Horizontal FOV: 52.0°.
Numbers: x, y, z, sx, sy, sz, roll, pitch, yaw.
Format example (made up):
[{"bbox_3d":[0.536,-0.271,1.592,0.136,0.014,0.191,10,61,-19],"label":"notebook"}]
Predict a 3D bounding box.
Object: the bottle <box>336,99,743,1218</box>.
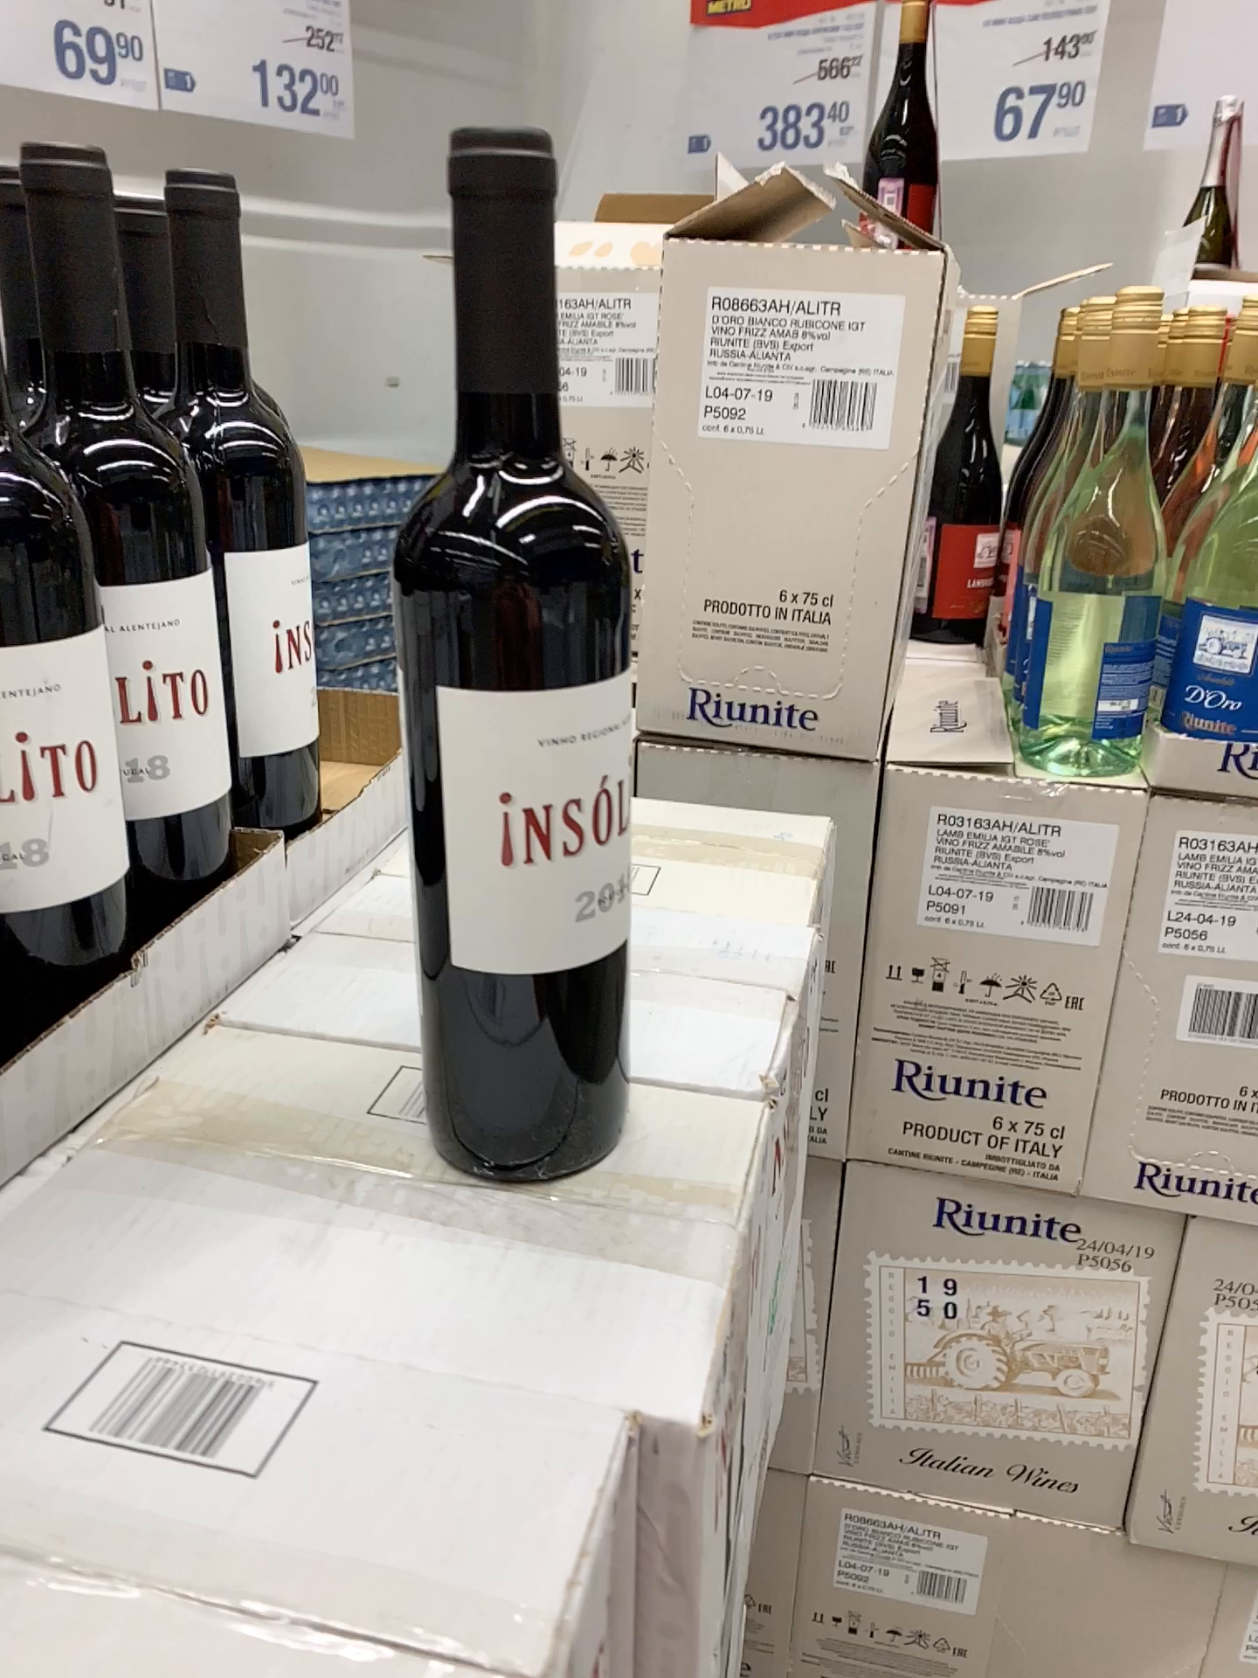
[{"bbox_3d":[-0.030,-0.046,0.404,0.080,0.310,0.077,2,20,-1],"label":"bottle"}]
